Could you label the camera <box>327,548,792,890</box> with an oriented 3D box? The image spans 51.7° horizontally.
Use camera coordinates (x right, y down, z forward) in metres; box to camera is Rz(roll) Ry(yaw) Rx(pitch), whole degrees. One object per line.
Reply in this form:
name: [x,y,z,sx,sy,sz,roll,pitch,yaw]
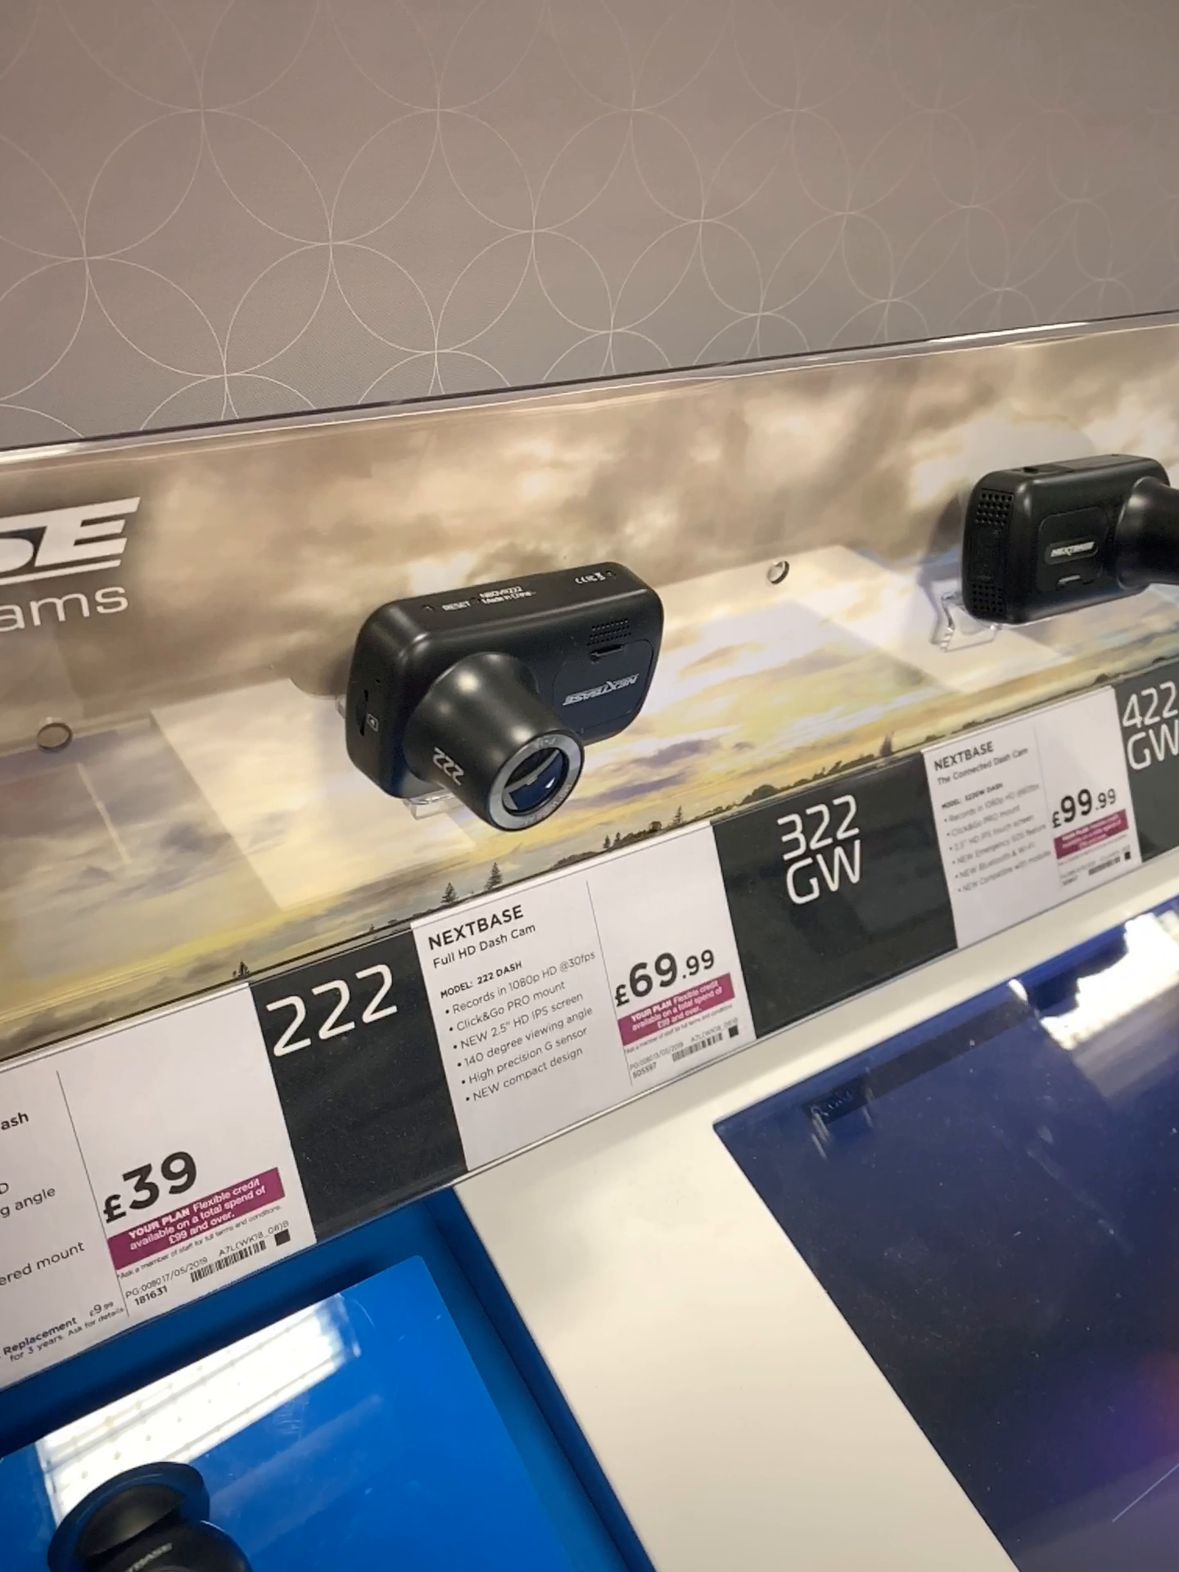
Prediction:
camera: [-0.008,-0.019,0.280,0.090,0.040,0.050,-16,44,-31]
